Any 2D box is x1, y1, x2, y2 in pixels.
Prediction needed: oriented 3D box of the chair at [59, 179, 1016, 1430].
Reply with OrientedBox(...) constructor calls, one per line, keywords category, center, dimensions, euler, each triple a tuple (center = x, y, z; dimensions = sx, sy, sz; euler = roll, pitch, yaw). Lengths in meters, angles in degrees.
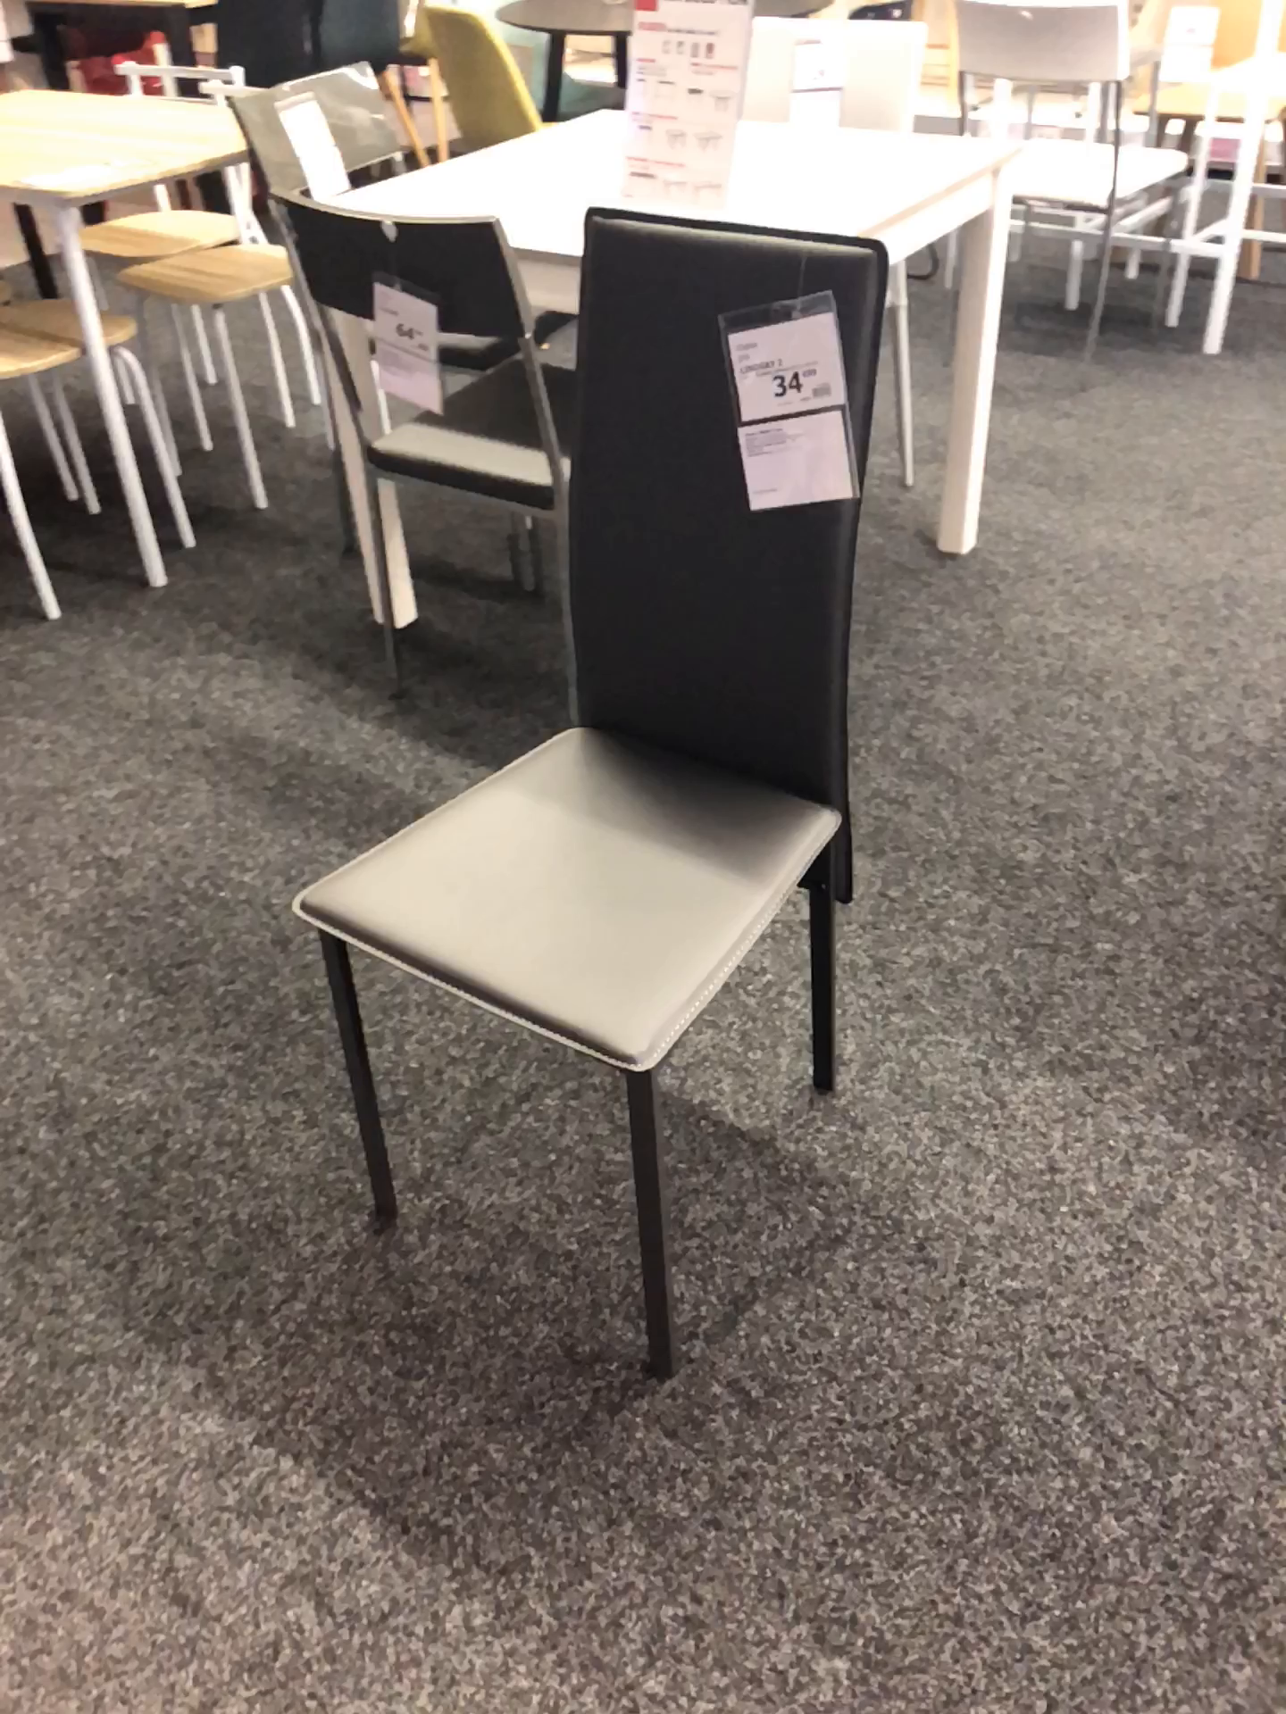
OrientedBox(category="chair", center=(-0.032, -0.055, 1.333), dimensions=(0.470, 0.934, 0.563), euler=(21, 43, 29))
